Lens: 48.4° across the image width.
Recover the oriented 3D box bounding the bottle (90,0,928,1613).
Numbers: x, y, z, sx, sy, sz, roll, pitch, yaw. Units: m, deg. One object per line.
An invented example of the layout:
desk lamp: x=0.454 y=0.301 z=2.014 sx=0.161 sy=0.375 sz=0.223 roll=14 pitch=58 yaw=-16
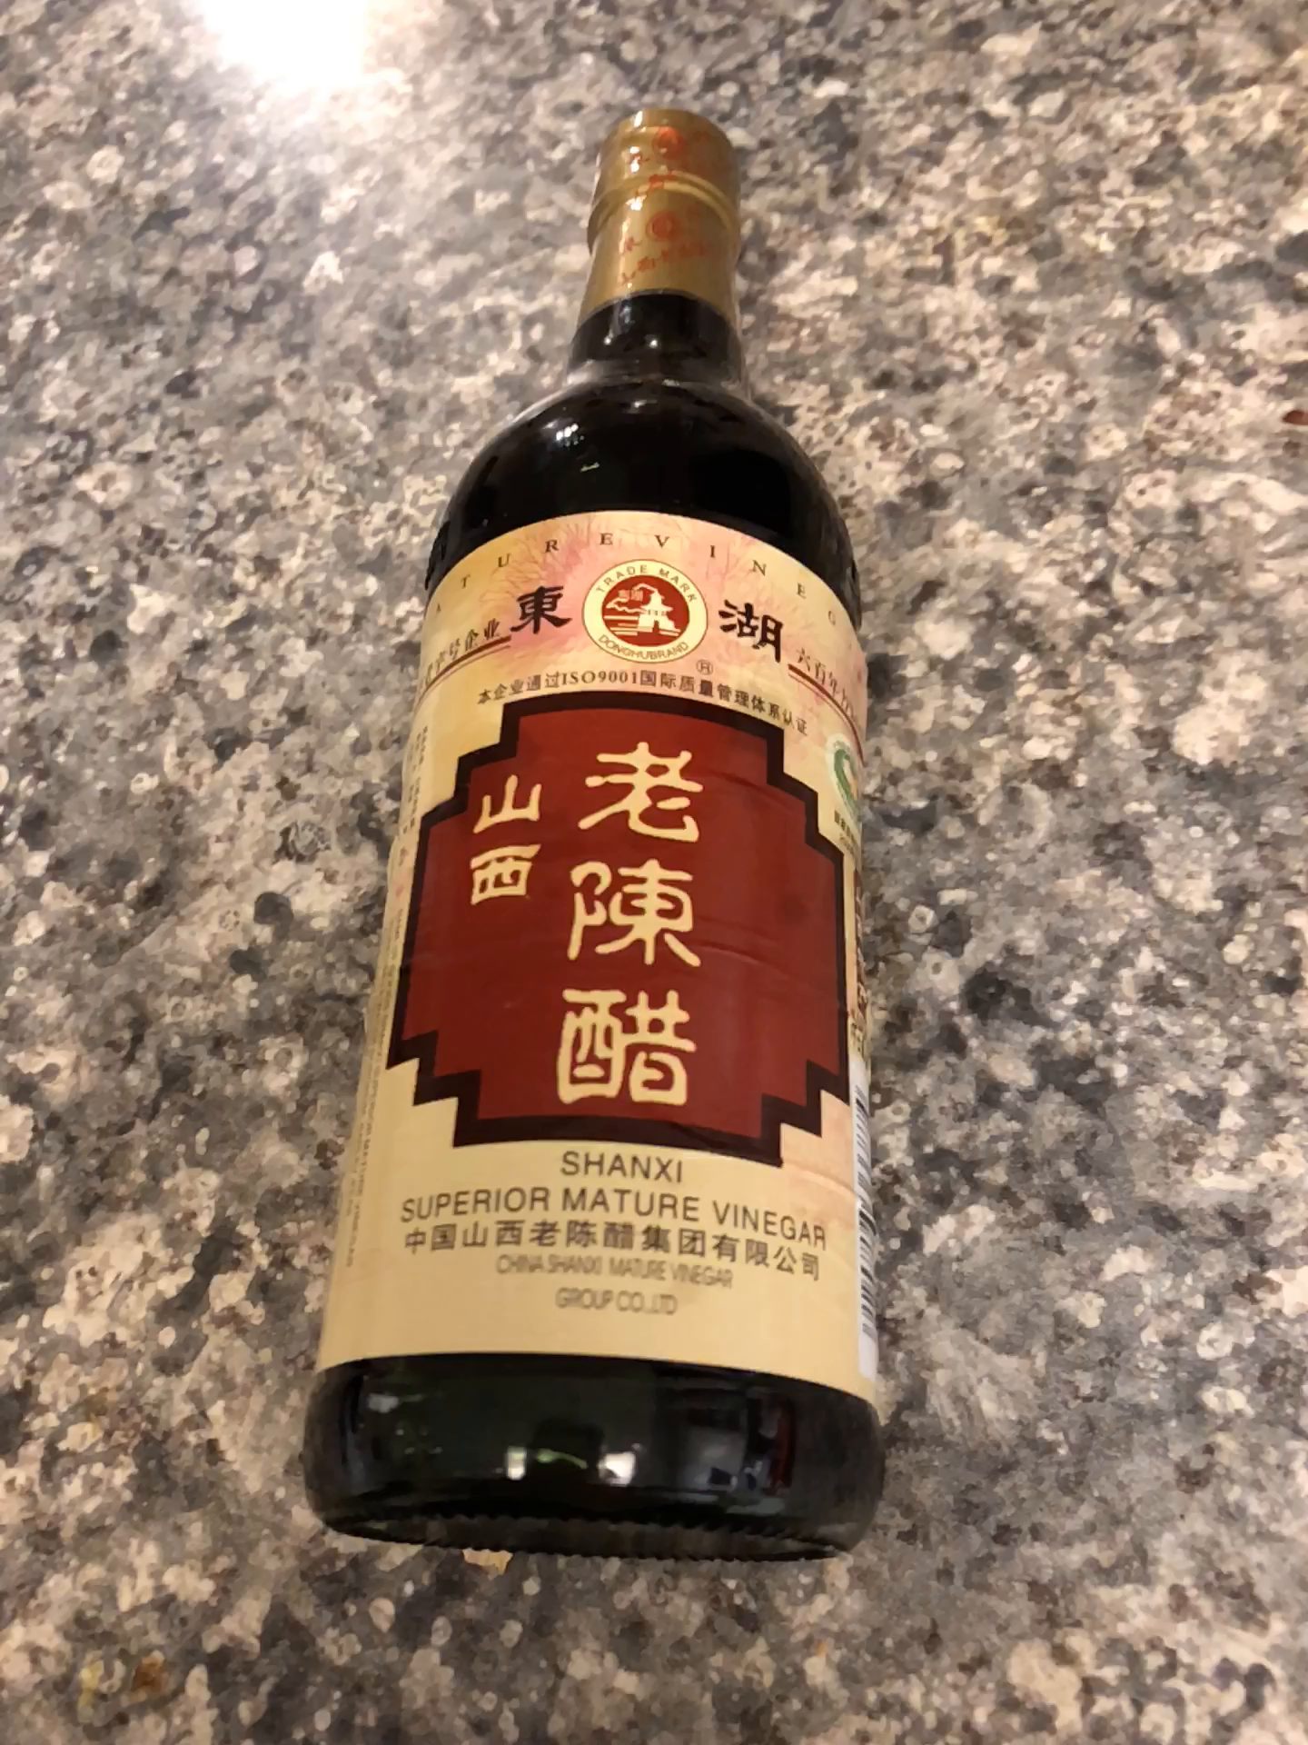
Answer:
bottle: x=-0.002 y=-0.033 z=0.206 sx=0.070 sy=0.070 sz=0.241 roll=-1 pitch=61 yaw=8
